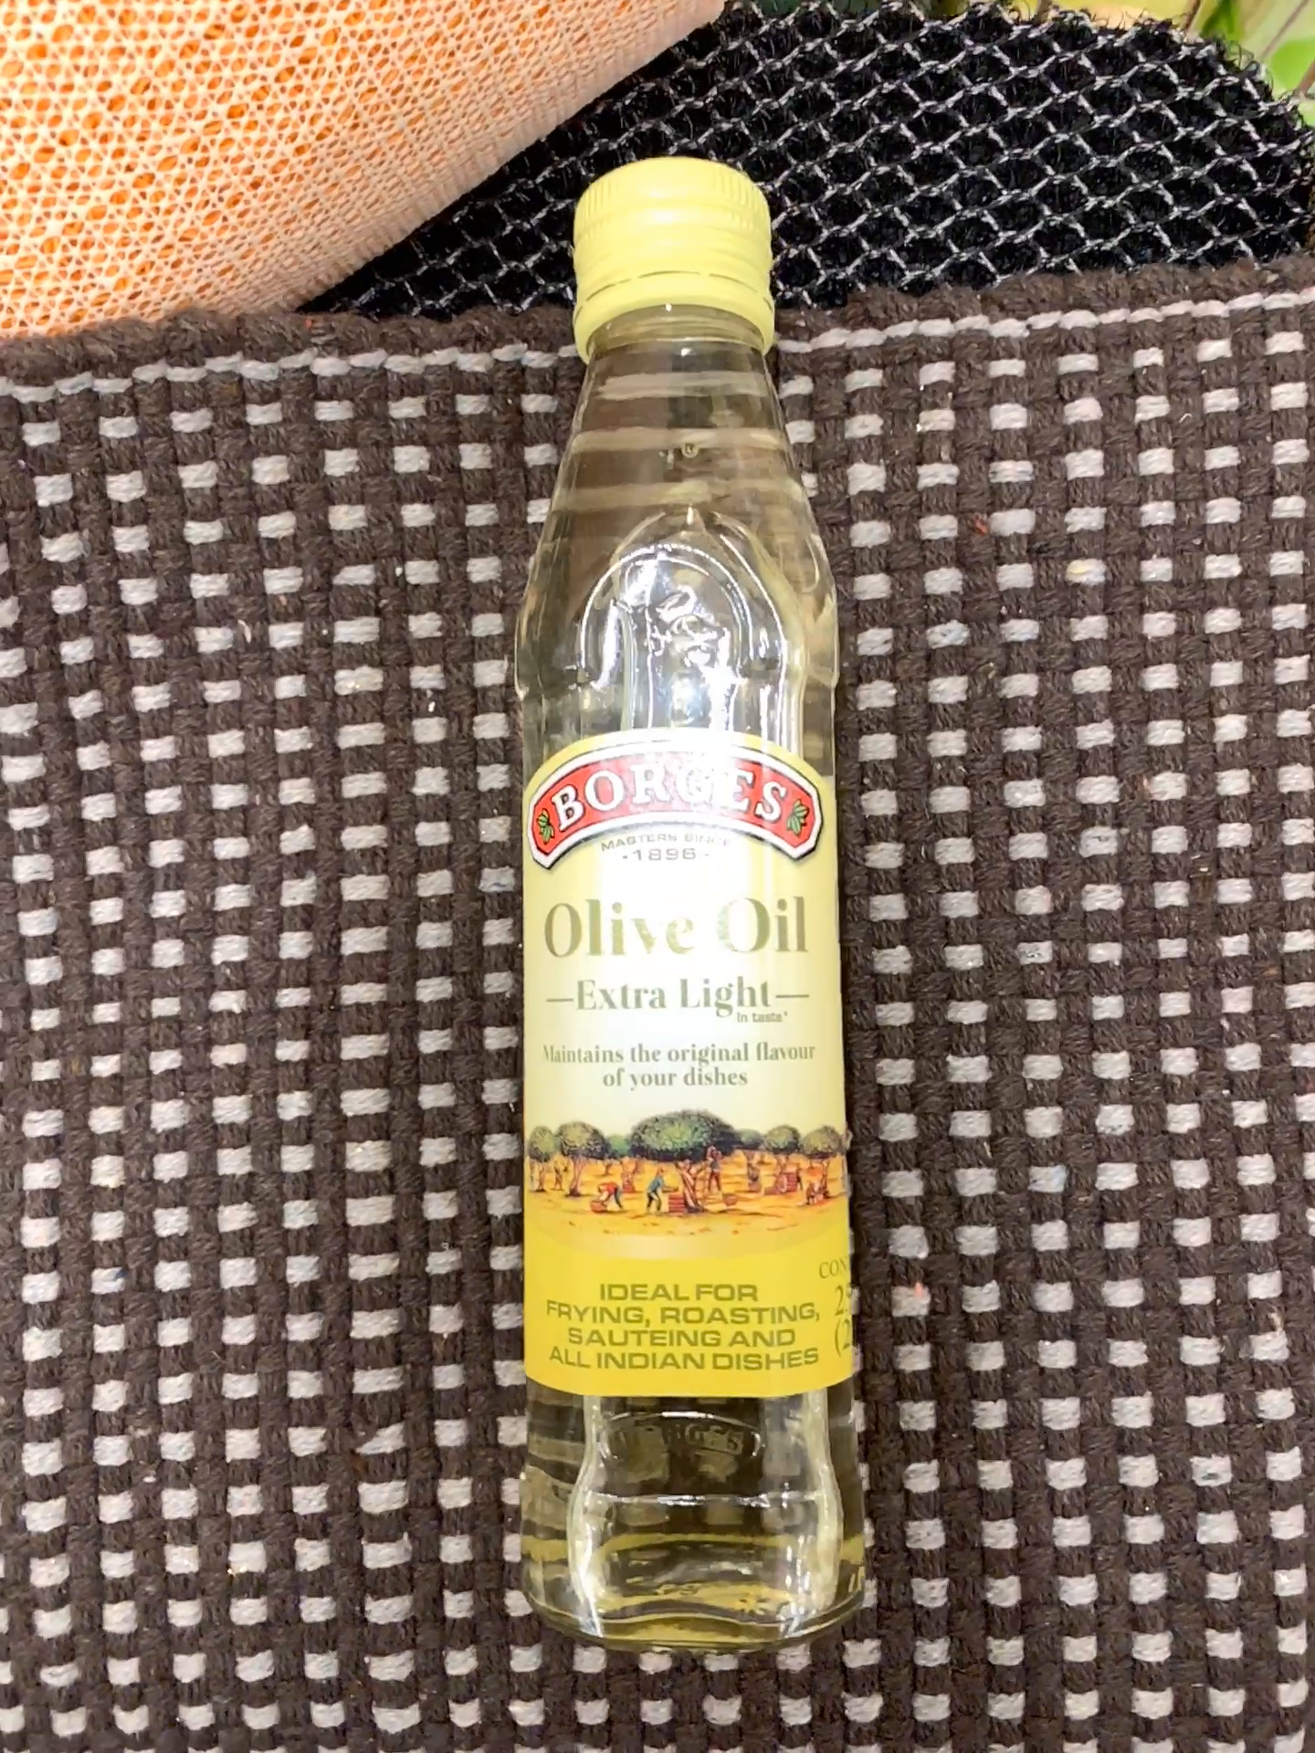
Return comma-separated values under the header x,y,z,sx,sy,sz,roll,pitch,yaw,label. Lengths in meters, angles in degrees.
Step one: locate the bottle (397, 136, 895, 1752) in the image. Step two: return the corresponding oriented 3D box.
x,y,z,sx,sy,sz,roll,pitch,yaw,label
-0.001,0.007,0.190,0.060,0.040,0.200,-1,86,3,bottle
